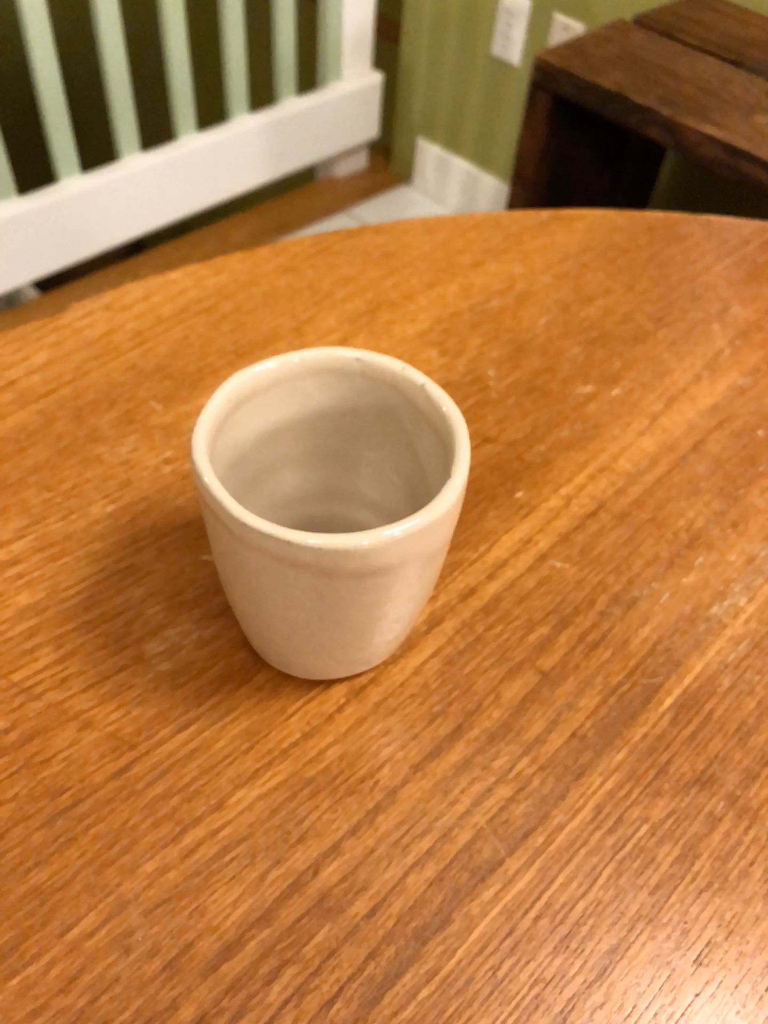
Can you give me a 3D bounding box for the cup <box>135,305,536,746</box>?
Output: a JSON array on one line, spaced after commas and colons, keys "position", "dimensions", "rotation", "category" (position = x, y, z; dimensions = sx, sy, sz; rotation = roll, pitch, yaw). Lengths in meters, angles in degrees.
[{"position": [-0.016, 0.003, 0.285], "dimensions": [0.084, 0.086, 0.083], "rotation": [3, 50, -3], "category": "cup"}]
